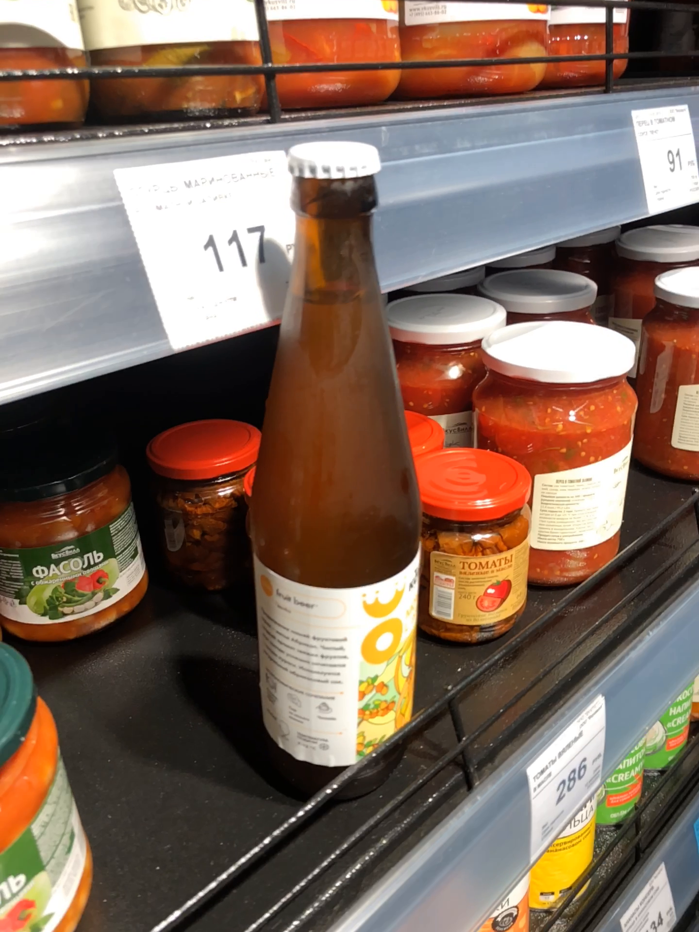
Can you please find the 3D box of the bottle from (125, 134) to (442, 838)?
[{"bbox_3d":[-0.013,0.015,0.286,0.070,0.249,0.070,-1,27,1],"label":"bottle"}]
